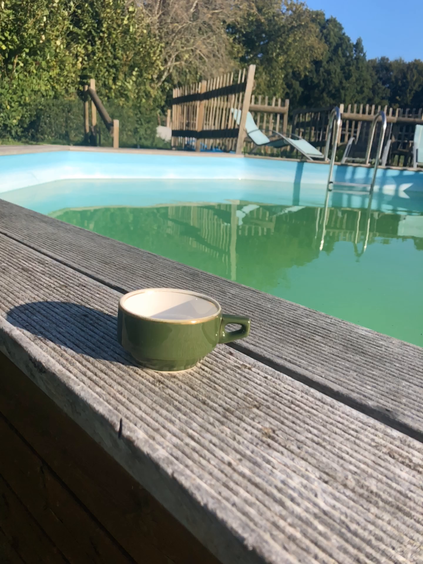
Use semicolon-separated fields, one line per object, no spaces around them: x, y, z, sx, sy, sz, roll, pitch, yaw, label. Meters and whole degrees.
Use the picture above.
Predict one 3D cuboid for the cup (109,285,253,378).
-0.023;0.034;0.352;0.095;0.038;0.083;3;15;-4;cup
